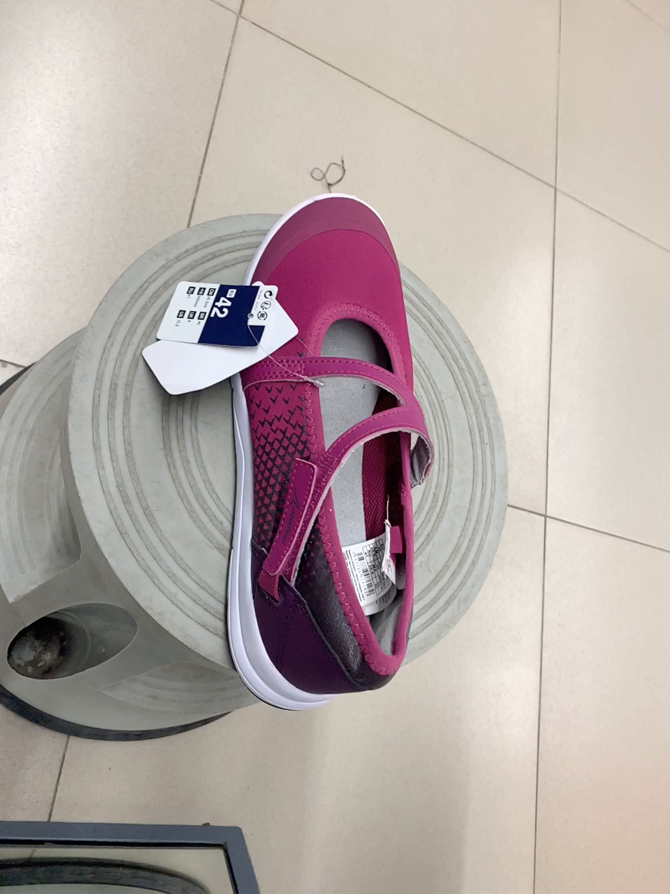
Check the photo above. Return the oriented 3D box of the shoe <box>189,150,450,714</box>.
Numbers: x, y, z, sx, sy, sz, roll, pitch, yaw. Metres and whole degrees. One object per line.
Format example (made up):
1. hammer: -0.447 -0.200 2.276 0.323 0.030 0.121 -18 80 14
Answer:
1. shoe: -0.006 -0.006 0.355 0.100 0.070 0.260 9 72 -26
